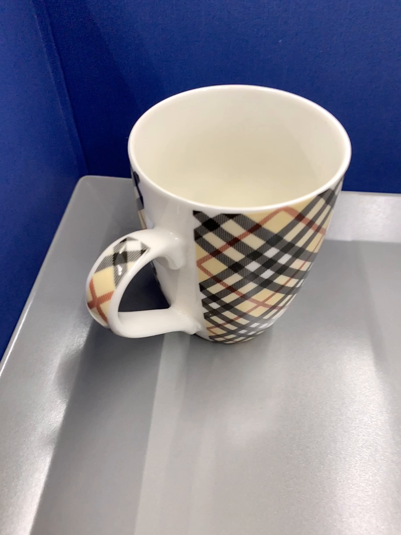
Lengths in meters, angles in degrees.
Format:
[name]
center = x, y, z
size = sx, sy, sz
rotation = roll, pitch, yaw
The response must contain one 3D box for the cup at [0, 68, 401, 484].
[cup]
center = 0.004, -0.003, 0.183
size = 0.091, 0.104, 0.121
rotation = 33, 55, 28
